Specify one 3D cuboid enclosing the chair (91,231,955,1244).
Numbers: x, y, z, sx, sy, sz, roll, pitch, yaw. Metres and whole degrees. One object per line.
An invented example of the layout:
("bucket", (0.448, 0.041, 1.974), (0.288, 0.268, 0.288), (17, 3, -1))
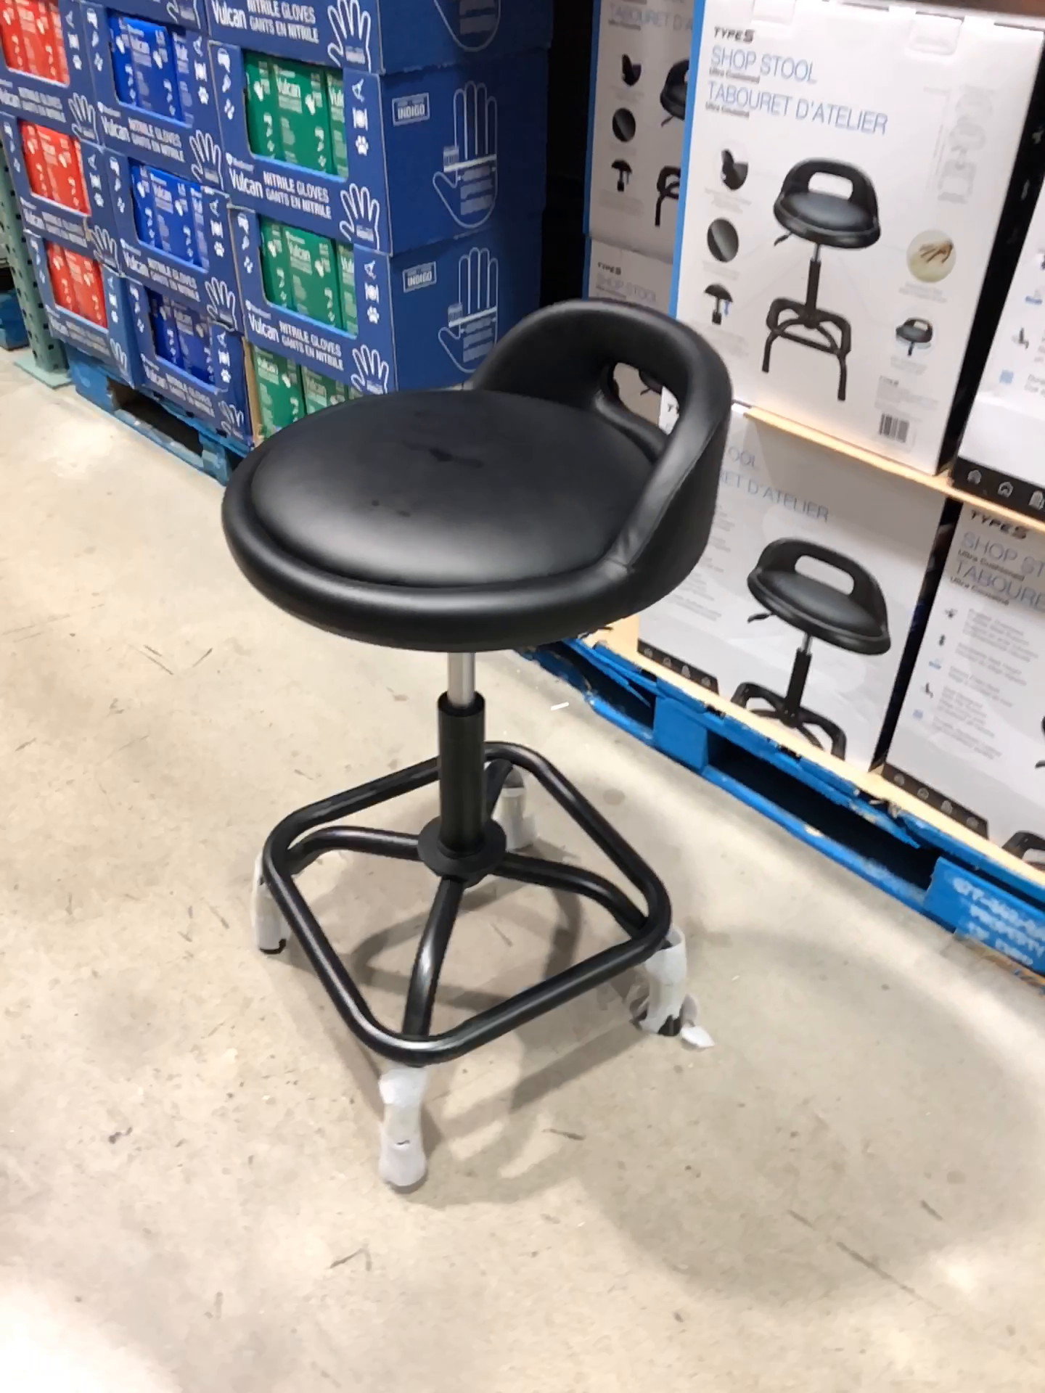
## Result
("chair", (-0.029, 0.023, 1.139), (0.510, 0.747, 0.482), (-20, 43, -25))
